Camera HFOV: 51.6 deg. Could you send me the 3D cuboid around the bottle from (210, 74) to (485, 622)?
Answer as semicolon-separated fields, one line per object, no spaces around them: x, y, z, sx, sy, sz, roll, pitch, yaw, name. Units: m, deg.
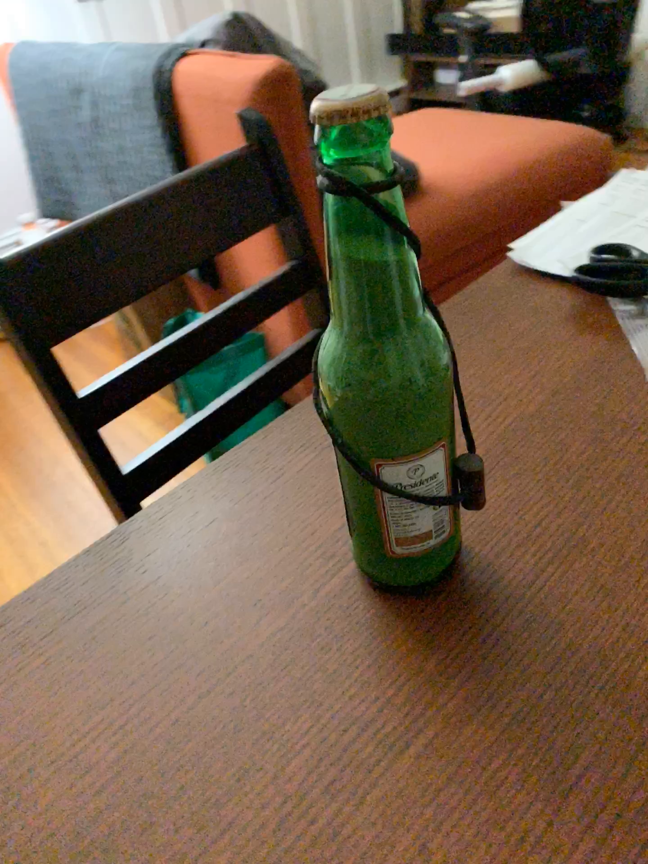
0.022;-0.024;0.317;0.080;0.239;0.070;-19;38;-10;bottle
